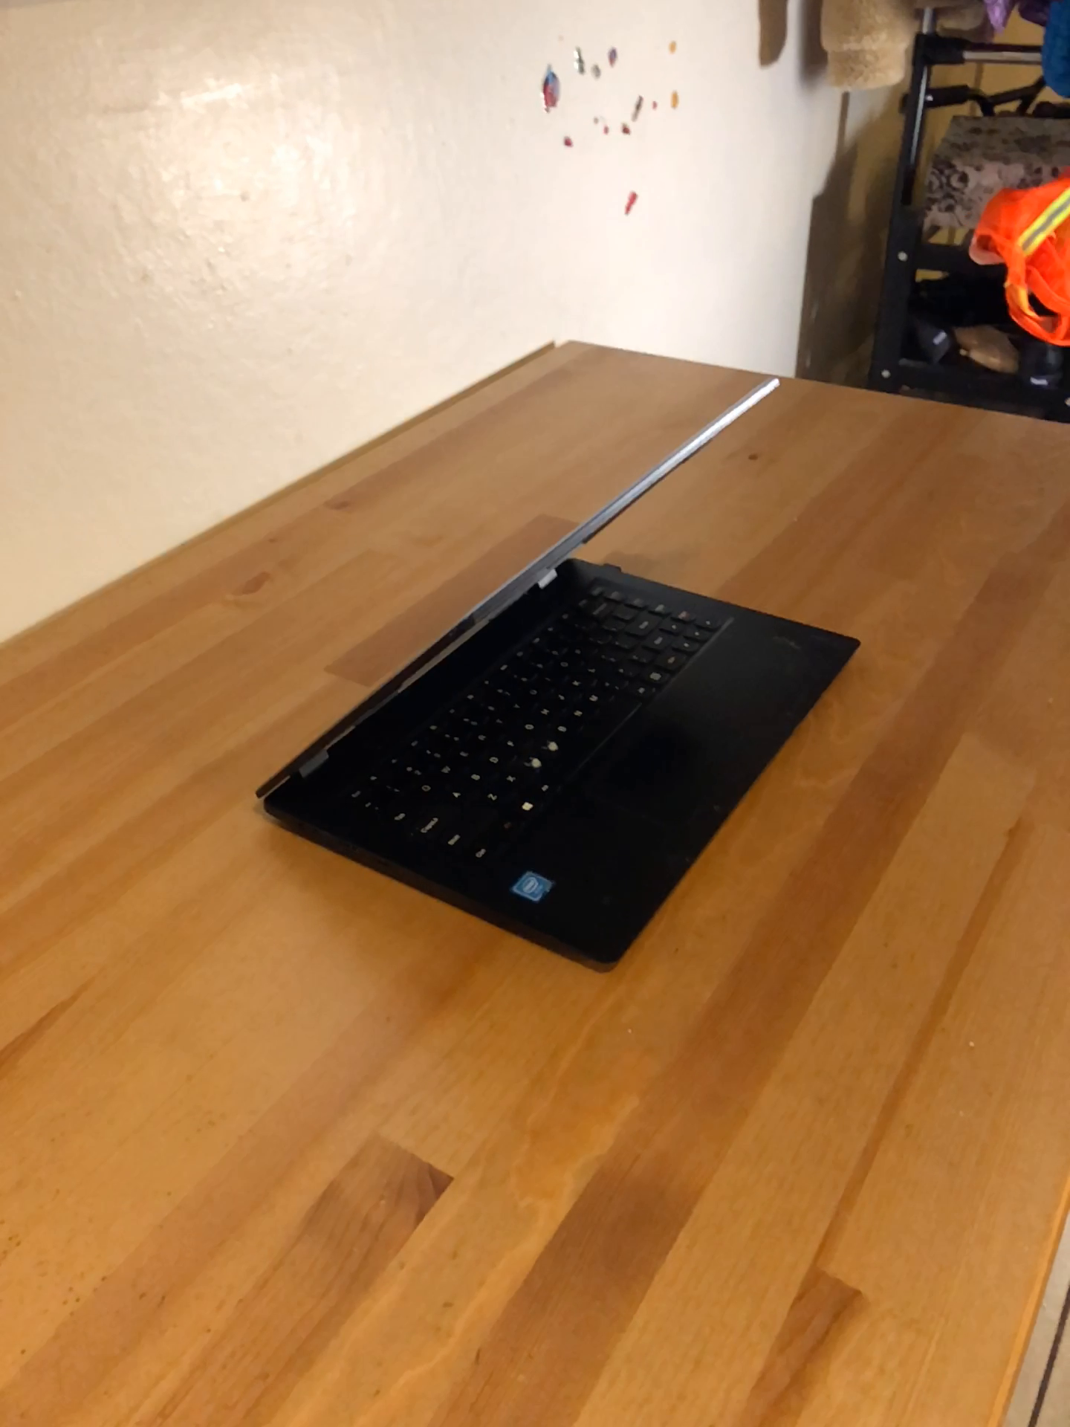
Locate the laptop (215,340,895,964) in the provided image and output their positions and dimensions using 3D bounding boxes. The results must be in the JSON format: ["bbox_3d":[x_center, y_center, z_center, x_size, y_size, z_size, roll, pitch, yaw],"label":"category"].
[{"bbox_3d":[0.030,-0.063,0.651,0.216,0.161,0.318,20,41,27],"label":"laptop"}]
